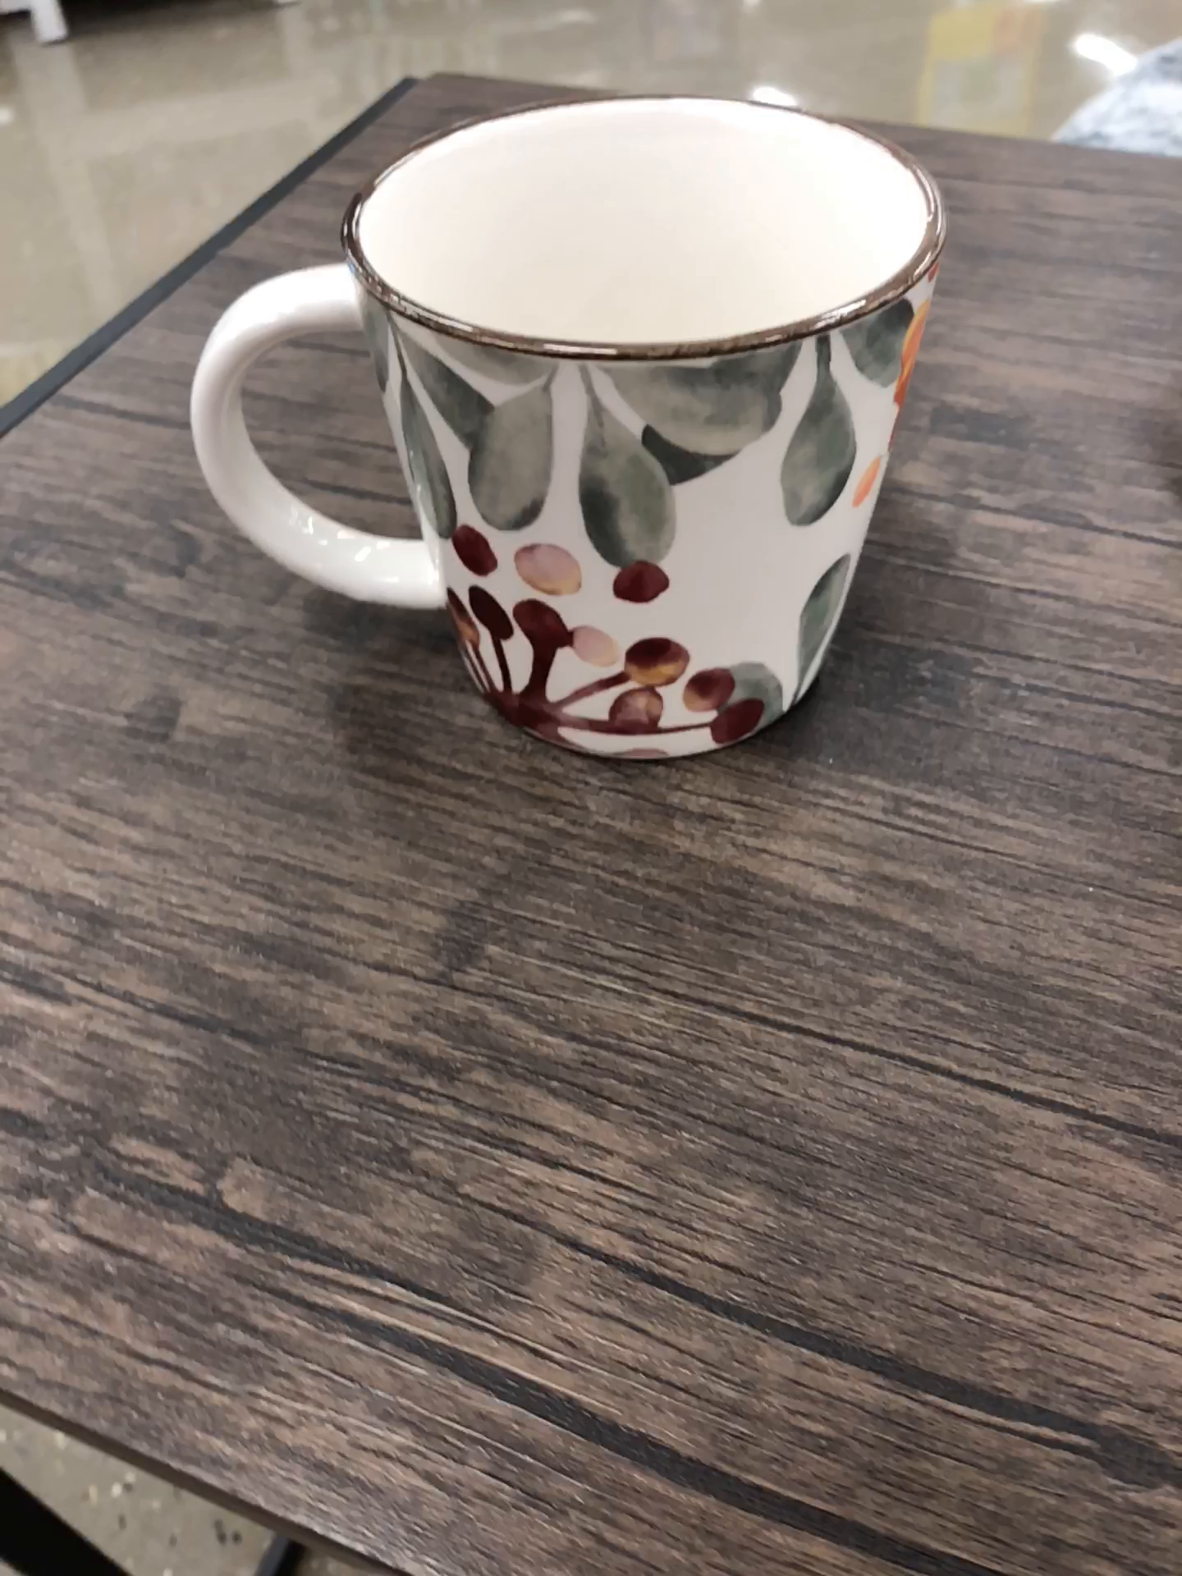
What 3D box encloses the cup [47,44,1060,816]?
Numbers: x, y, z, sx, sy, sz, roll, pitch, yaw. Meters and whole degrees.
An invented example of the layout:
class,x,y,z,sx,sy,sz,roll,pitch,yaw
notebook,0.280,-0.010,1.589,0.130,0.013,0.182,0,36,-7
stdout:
class,x,y,z,sx,sy,sz,roll,pitch,yaw
cup,-0.005,-0.071,0.271,0.150,0.110,0.100,-2,47,1
